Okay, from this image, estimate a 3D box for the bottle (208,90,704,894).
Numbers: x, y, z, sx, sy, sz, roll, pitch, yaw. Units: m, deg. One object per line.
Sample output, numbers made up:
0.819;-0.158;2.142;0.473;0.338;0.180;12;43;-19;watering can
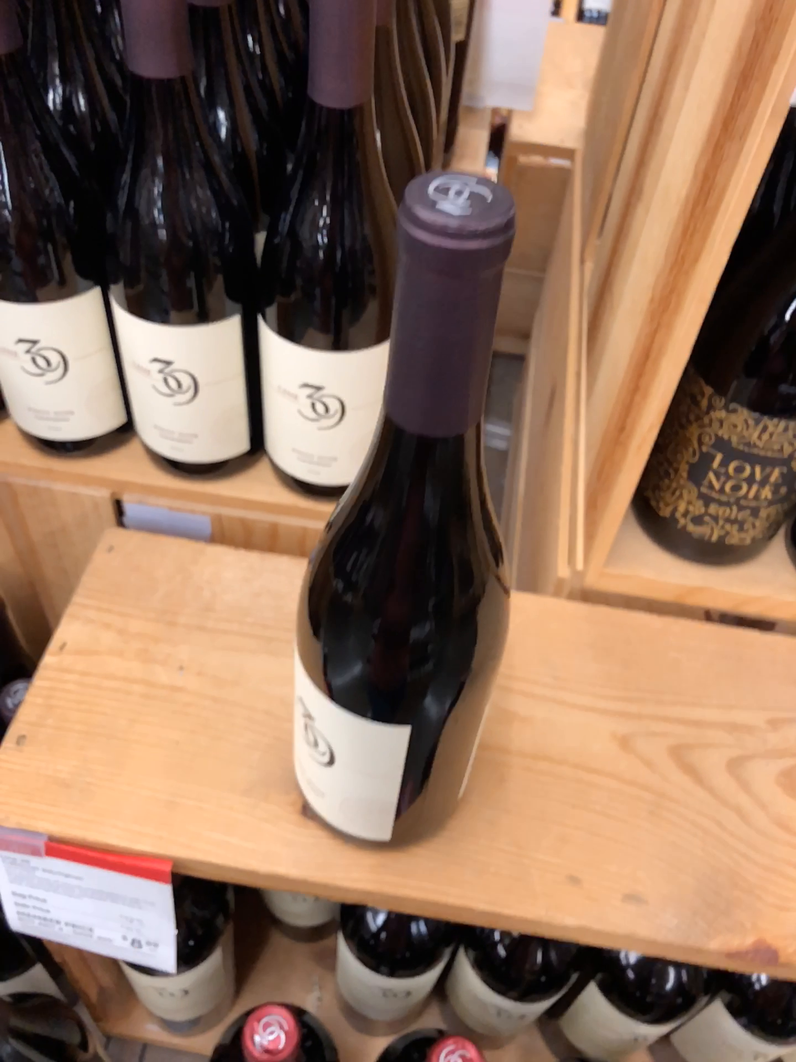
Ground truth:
0.000;0.018;0.302;0.080;0.283;0.080;3;48;-3;bottle
